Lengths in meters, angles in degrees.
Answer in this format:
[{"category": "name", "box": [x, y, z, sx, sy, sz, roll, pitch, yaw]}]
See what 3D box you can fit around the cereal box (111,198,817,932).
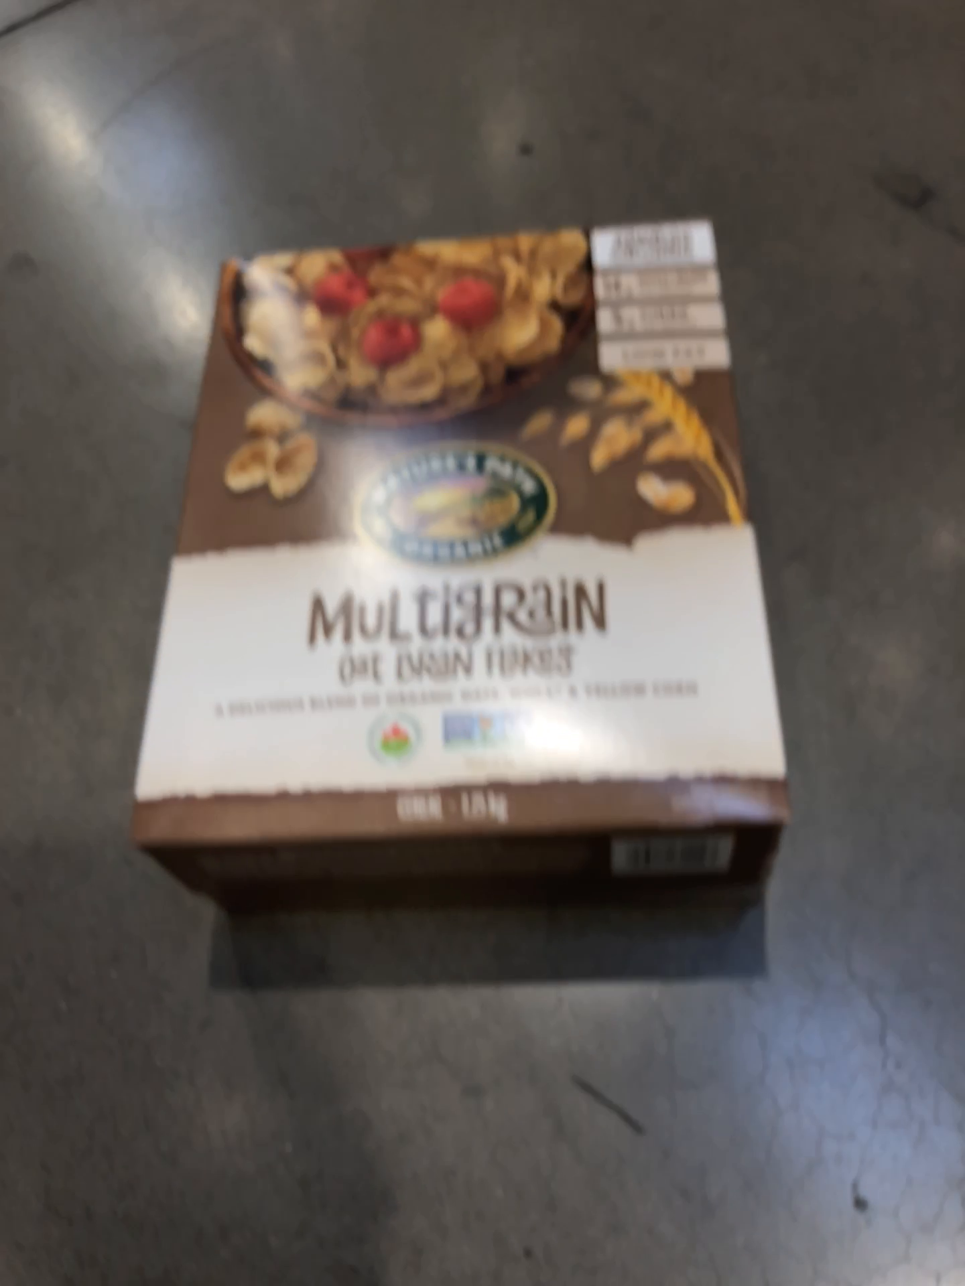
[{"category": "cereal box", "box": [-0.002, -0.040, 0.490, 0.240, 0.110, 0.311, -2, 61, 6]}]
